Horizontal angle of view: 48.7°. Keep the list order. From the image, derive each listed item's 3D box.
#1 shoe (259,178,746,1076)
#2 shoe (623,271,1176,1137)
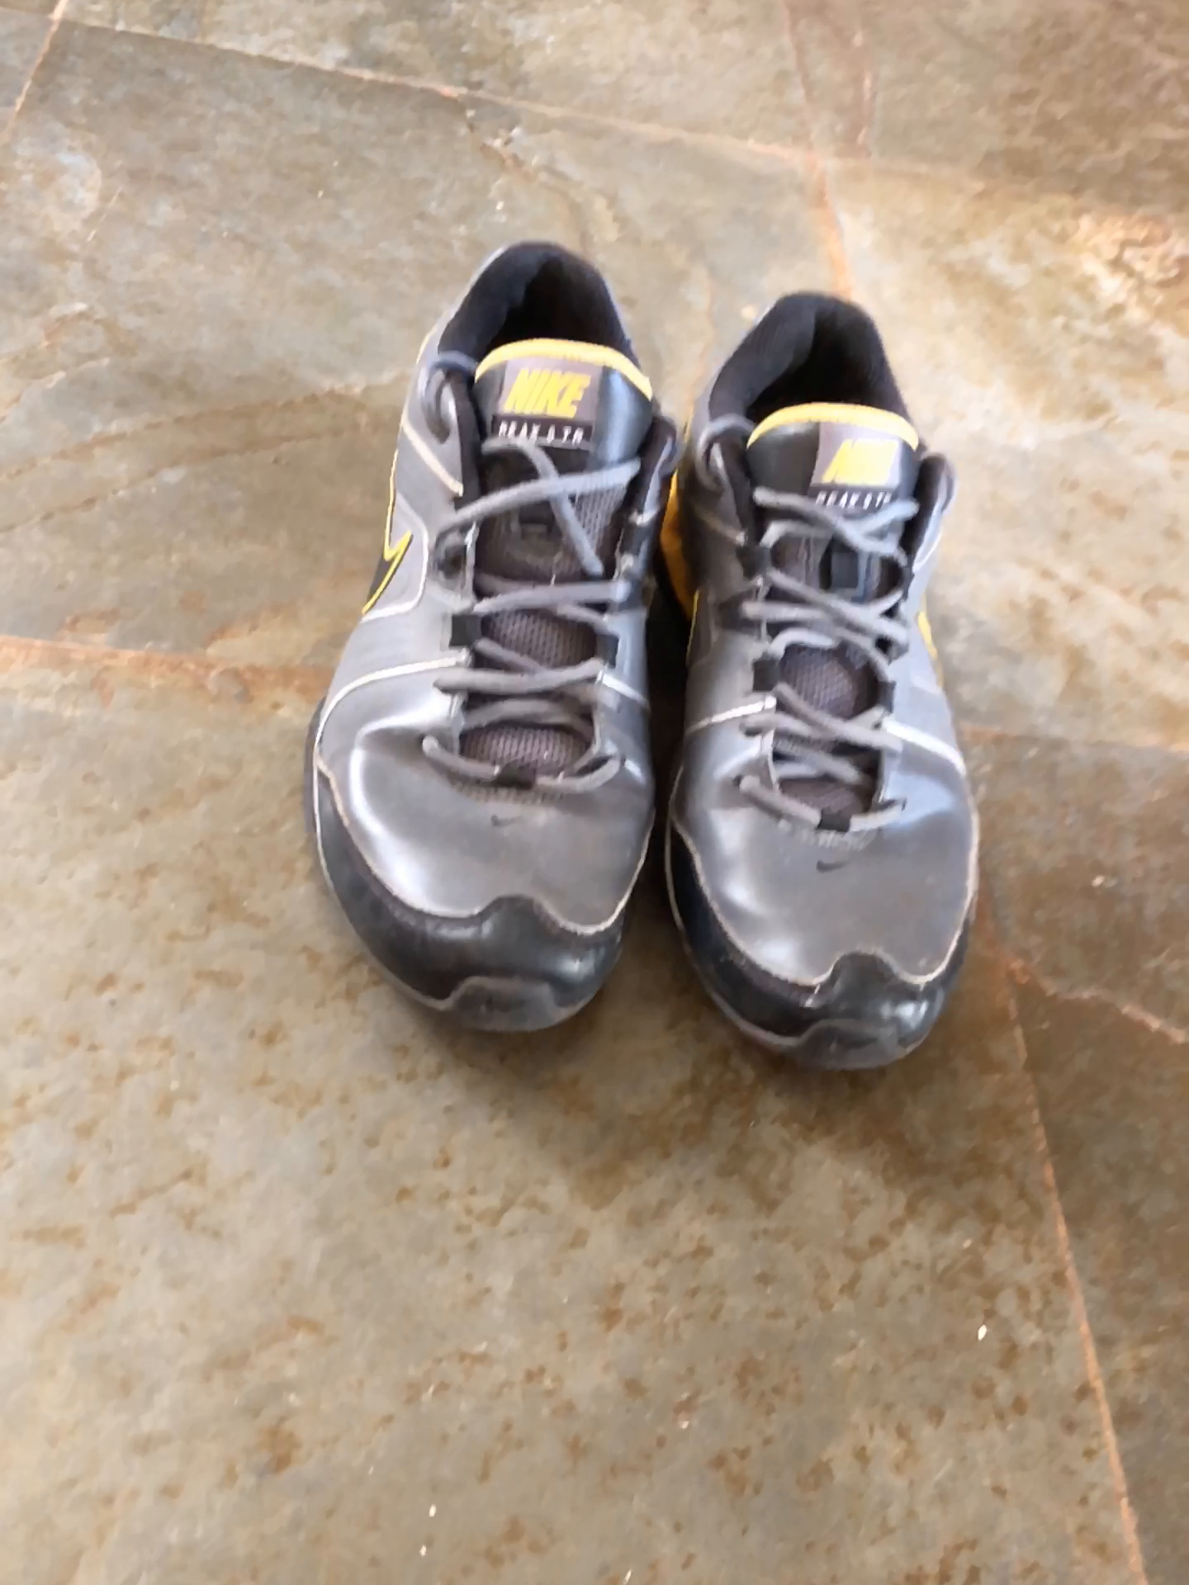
[{"bbox_3d":[-0.028,-0.055,0.378,0.100,0.099,0.241,7,54,-10],"label":"shoe"},{"bbox_3d":[0.071,-0.034,0.396,0.100,0.099,0.241,7,54,-10],"label":"shoe"}]
